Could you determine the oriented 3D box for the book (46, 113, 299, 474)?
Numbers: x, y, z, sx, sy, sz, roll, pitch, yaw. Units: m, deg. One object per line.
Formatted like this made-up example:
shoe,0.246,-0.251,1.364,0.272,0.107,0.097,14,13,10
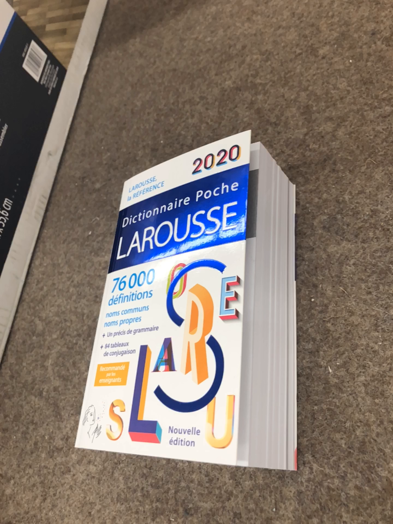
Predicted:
book,-0.007,0.019,0.263,0.117,0.060,0.184,-10,62,30
